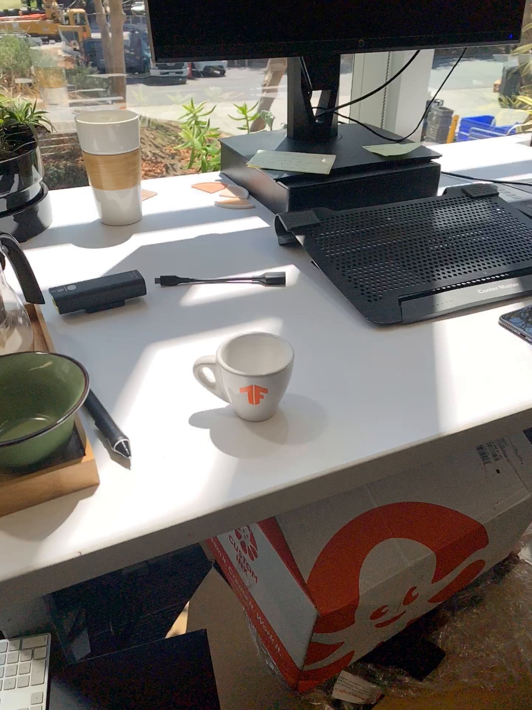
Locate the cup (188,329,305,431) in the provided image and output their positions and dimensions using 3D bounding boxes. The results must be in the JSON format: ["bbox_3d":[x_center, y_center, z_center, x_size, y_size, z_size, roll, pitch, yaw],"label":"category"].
[{"bbox_3d":[-0.014,0.020,0.461,0.090,0.060,0.060,1,35,1],"label":"cup"}]
